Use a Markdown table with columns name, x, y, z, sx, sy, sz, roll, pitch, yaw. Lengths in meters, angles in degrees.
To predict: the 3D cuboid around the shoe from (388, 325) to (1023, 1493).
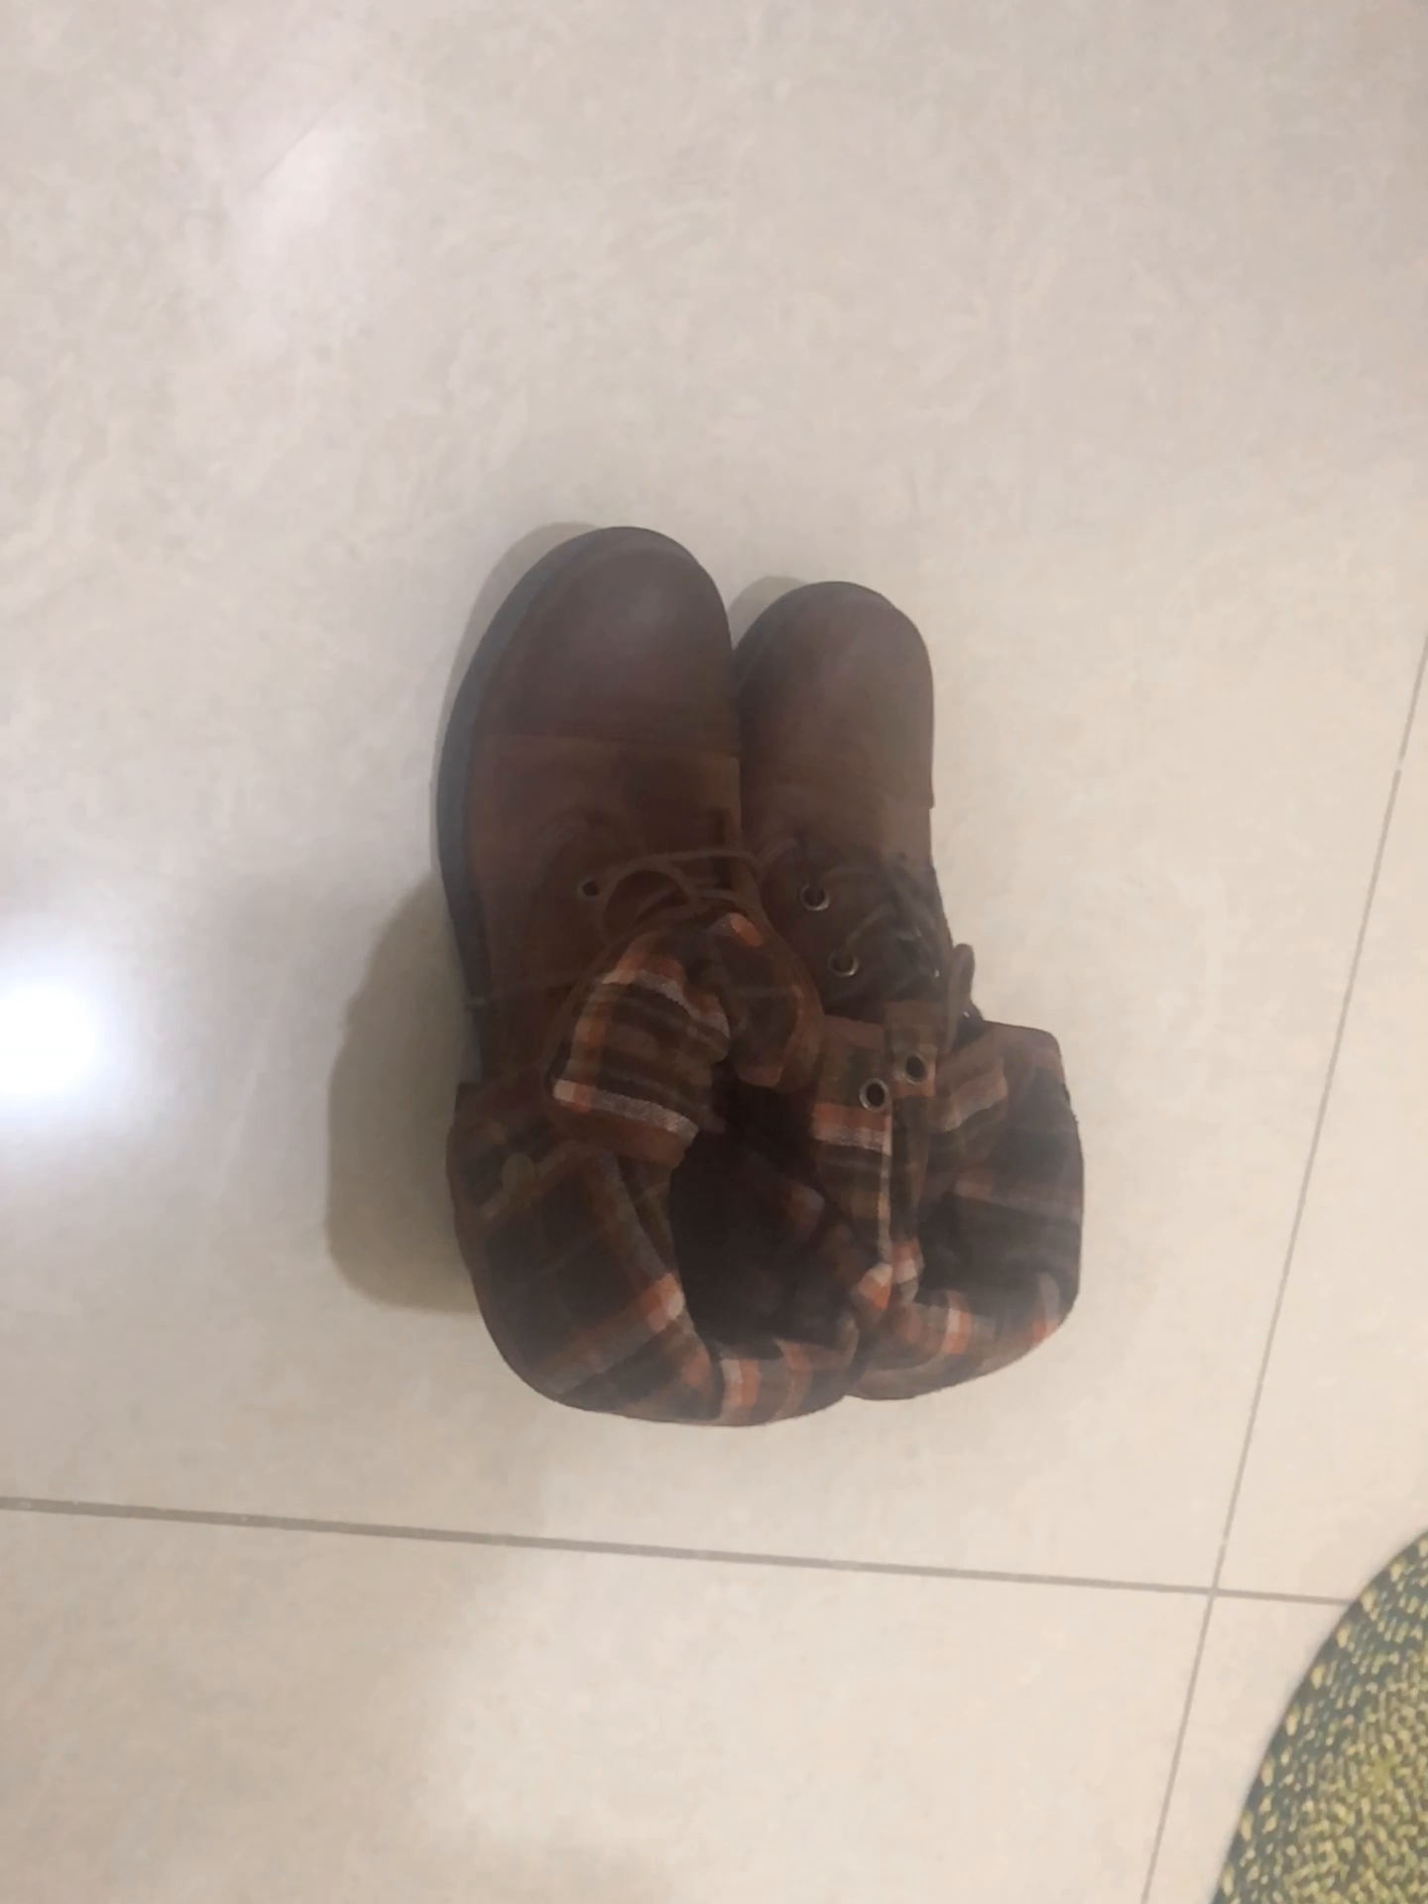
| name | x | y | z | sx | sy | sz | roll | pitch | yaw |
| --- | --- | --- | --- | --- | --- | --- | --- | --- | --- |
| shoe | -0.009 | -0.011 | 0.472 | 0.110 | 0.149 | 0.280 | 1 | 93 | -36 |

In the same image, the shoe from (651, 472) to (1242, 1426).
| name | x | y | z | sx | sy | sz | roll | pitch | yaw |
| --- | --- | --- | --- | --- | --- | --- | --- | --- | --- |
| shoe | 0.073 | -0.001 | 0.531 | 0.100 | 0.139 | 0.270 | 6 | 90 | -36 |
